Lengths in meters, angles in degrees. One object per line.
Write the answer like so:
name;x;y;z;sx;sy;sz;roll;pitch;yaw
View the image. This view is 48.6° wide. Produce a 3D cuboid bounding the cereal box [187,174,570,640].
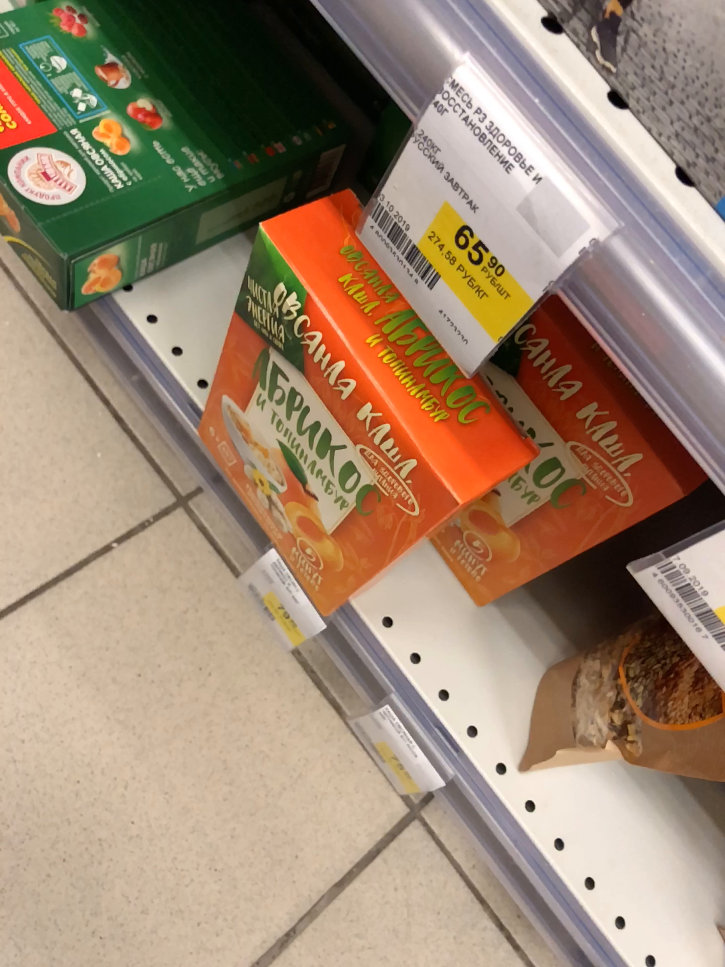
cereal box;-0.012;-0.017;0.374;0.050;0.189;0.140;-31;81;-27
